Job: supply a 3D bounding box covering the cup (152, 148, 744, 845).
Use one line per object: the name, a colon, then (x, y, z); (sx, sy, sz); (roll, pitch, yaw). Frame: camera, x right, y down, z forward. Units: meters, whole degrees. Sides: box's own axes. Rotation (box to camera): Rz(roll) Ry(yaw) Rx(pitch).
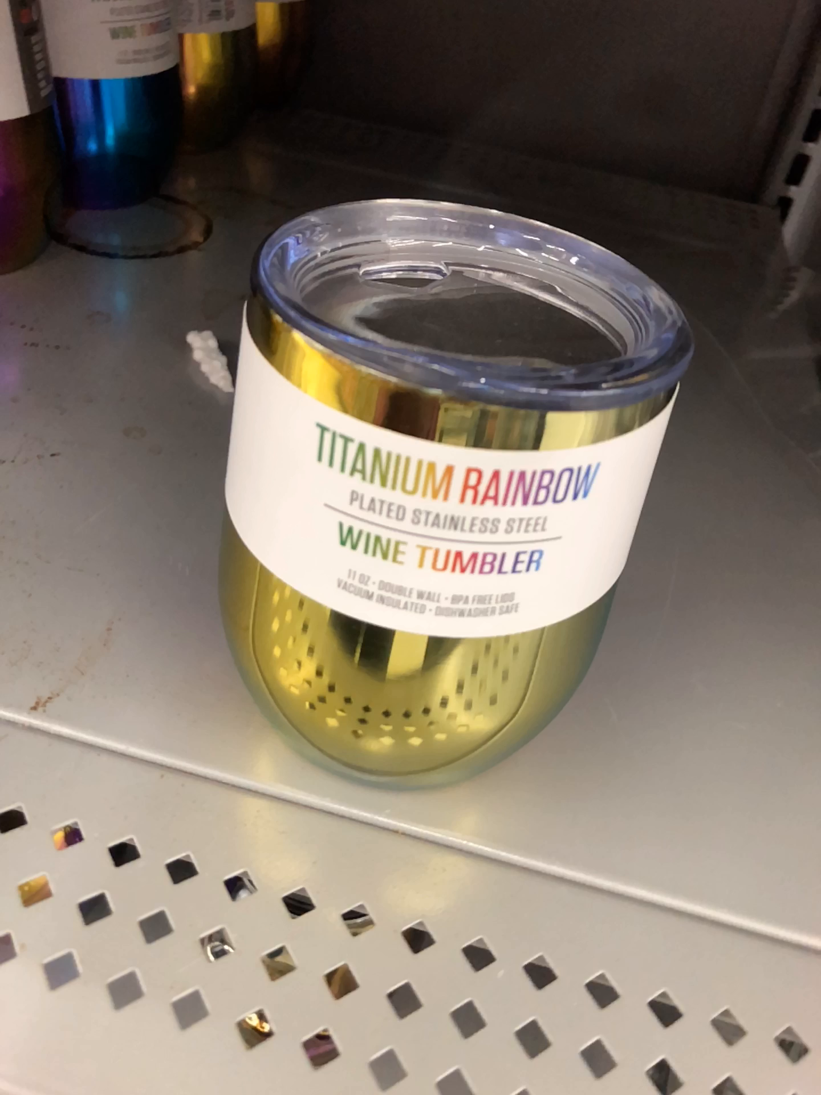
cup: (0.004, -0.009, 0.195); (0.086, 0.108, 0.076); (13, 41, 3)
